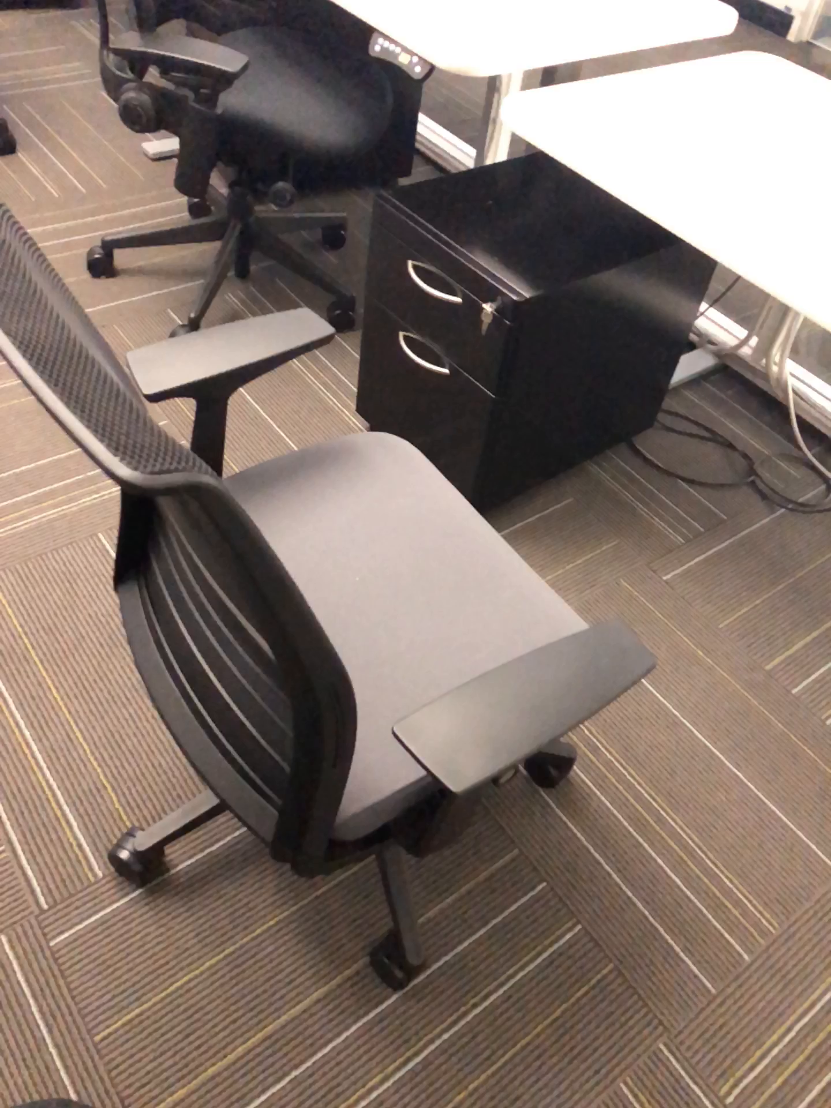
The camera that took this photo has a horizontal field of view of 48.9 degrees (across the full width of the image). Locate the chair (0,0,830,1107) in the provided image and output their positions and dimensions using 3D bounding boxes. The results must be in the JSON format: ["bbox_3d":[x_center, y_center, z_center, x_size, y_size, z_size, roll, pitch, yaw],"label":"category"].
[{"bbox_3d":[-0.085,-0.019,1.080,0.681,0.906,0.722,-26,56,-29],"label":"chair"}]
